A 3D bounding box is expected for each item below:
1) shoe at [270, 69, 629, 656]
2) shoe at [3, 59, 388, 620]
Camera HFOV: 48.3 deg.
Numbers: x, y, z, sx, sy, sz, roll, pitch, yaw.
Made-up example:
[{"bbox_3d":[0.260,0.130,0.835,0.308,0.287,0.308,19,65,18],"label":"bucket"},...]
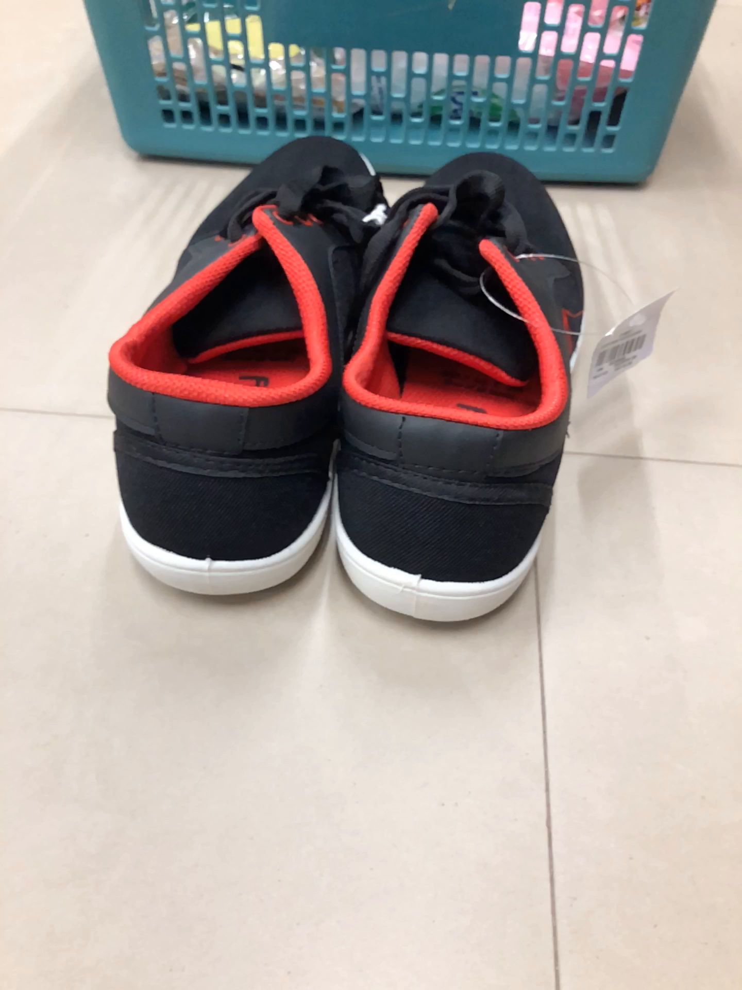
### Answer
[{"bbox_3d":[0.043,-0.077,0.364,0.105,0.102,0.262,9,49,6],"label":"shoe"},{"bbox_3d":[-0.051,-0.086,0.369,0.105,0.102,0.262,3,48,1],"label":"shoe"}]
